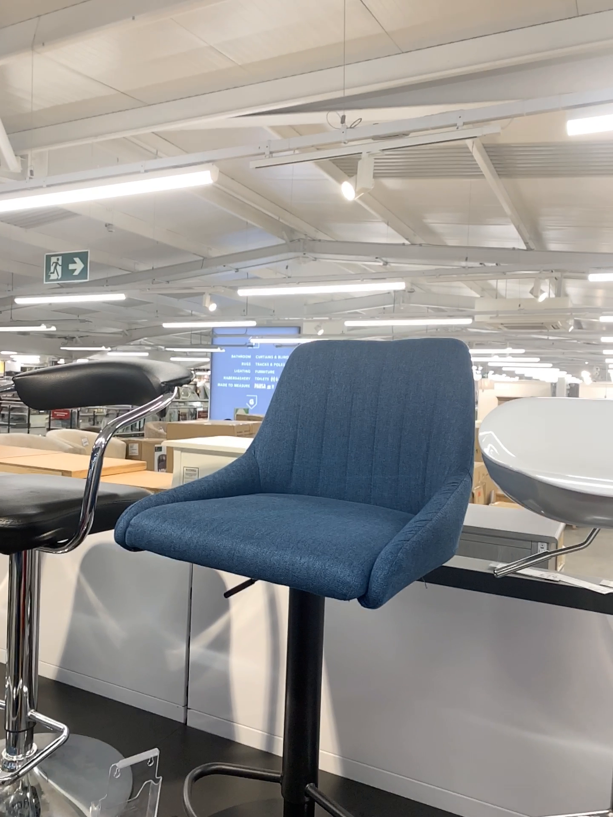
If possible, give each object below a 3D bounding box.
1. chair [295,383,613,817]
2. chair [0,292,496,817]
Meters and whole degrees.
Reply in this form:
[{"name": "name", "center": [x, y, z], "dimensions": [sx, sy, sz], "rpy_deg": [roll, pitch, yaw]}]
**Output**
[{"name": "chair", "center": [0.272, 0.364, 0.713], "dimensions": [0.409, 0.762, 0.388], "rpy_deg": [3, 1, 26]}, {"name": "chair", "center": [-0.047, 0.306, 0.963], "dimensions": [0.539, 0.872, 0.508], "rpy_deg": [3, 1, 26]}]
